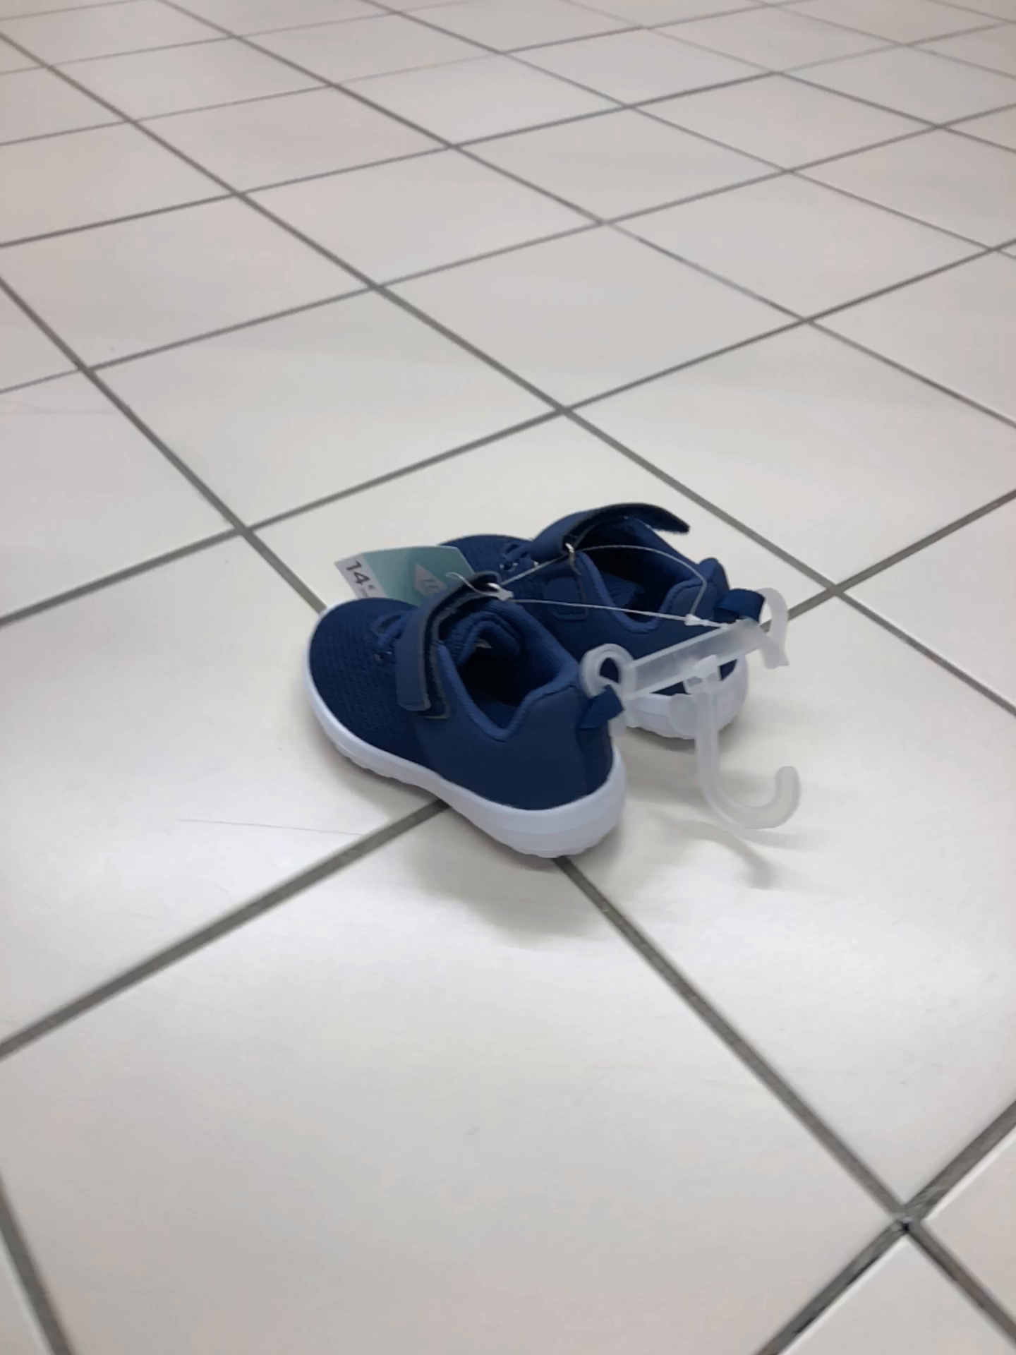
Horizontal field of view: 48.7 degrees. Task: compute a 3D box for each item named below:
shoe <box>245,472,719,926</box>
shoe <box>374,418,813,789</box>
[{"bbox_3d":[-0.014,0.000,0.426,0.081,0.073,0.160,-33,53,-32],"label":"shoe"},{"bbox_3d":[0.031,-0.036,0.468,0.157,0.076,0.075,25,47,23],"label":"shoe"}]
